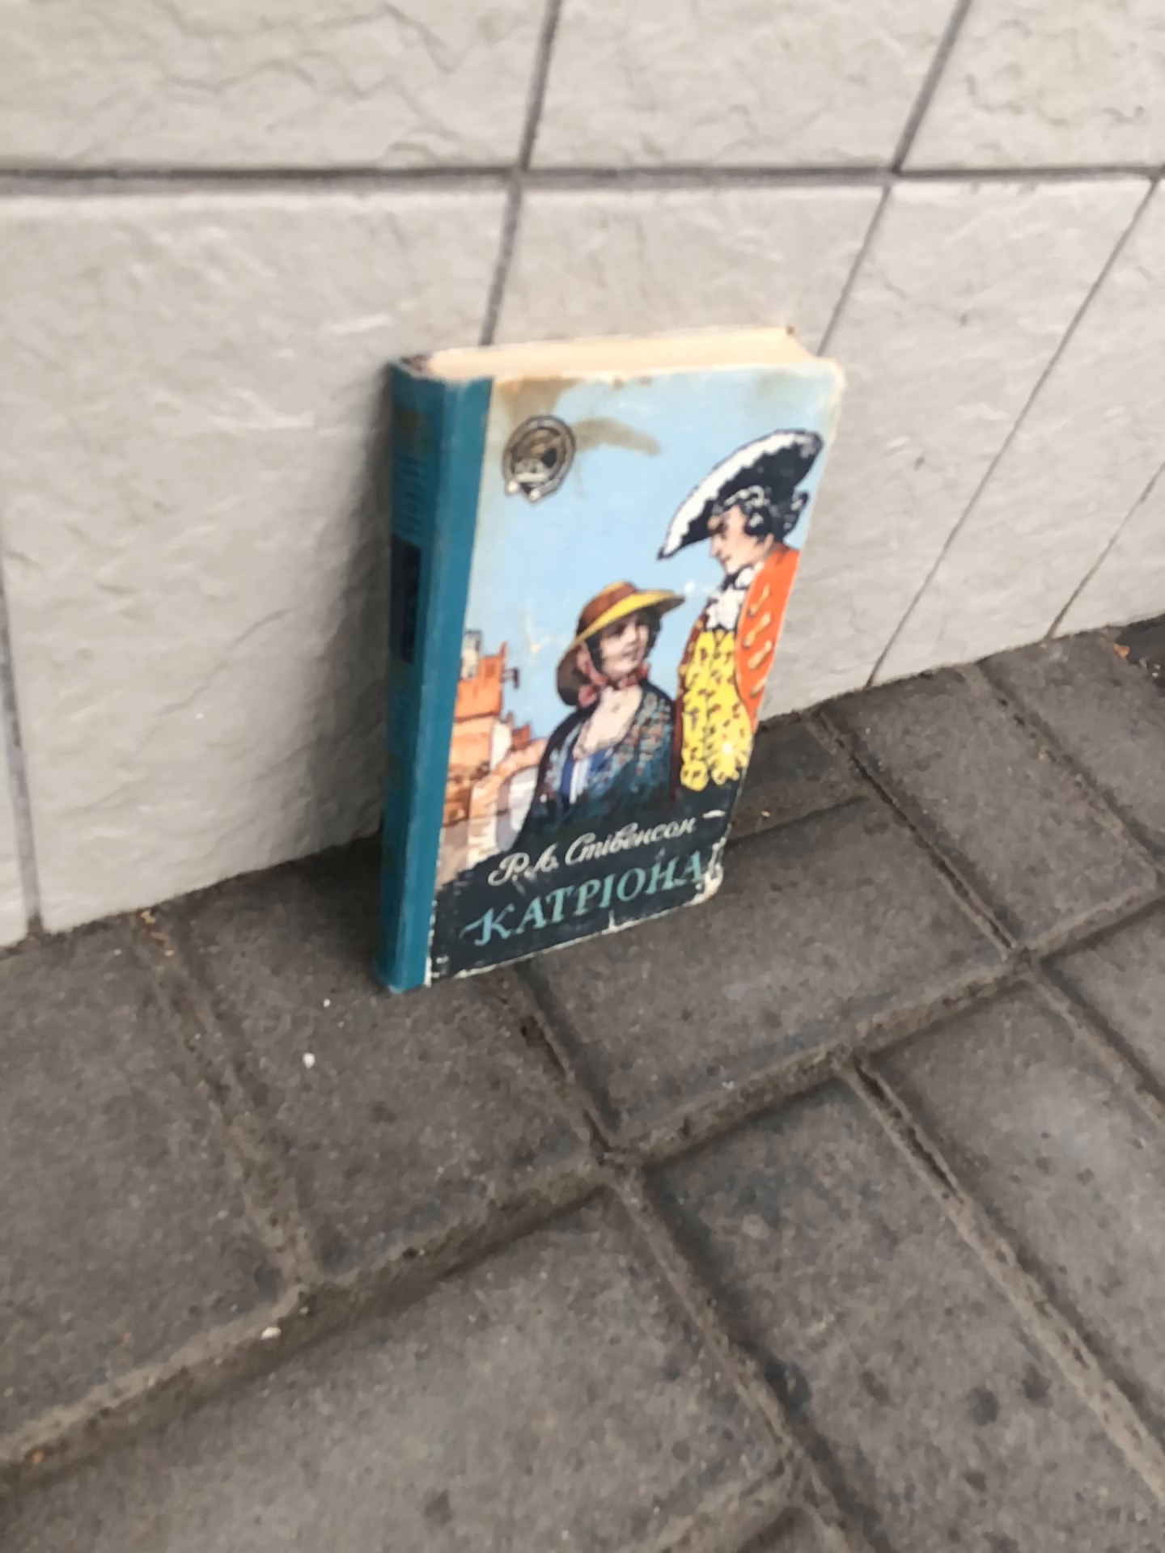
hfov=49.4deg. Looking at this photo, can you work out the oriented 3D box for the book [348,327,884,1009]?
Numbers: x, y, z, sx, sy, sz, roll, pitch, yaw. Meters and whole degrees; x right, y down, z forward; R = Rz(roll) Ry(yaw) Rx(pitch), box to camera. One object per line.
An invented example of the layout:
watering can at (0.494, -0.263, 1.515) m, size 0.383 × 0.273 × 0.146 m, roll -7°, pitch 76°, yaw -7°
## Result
book at (0.003, -0.029, 0.370) m, size 0.135 × 0.189 × 0.030 m, roll -13°, pitch 41°, yaw -29°
